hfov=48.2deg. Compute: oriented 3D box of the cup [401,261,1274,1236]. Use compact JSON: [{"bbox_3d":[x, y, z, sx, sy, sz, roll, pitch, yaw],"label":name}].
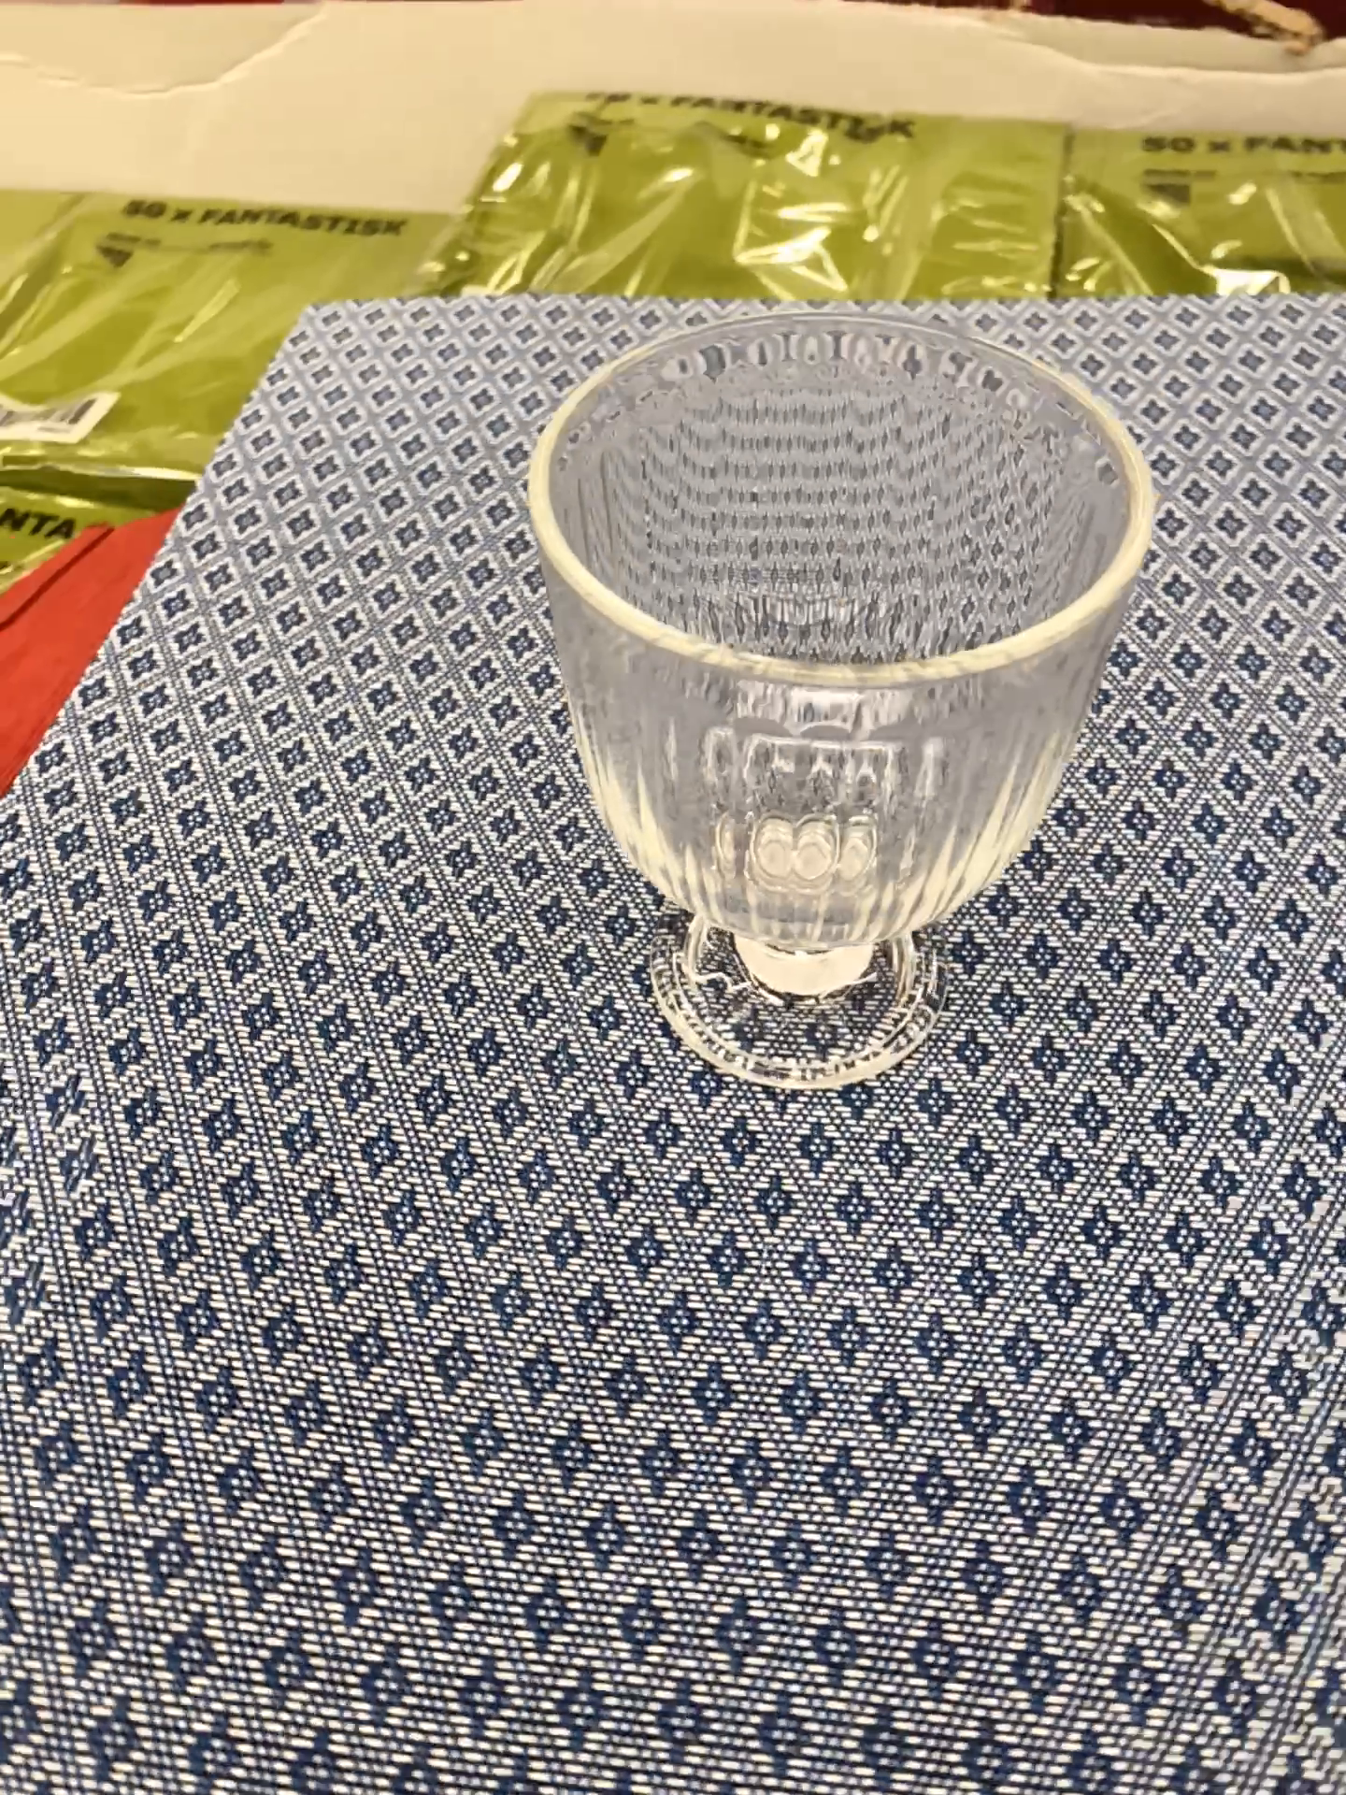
[{"bbox_3d":[0.030,-0.027,0.262,0.100,0.110,0.100,-1,48,1],"label":"cup"}]
